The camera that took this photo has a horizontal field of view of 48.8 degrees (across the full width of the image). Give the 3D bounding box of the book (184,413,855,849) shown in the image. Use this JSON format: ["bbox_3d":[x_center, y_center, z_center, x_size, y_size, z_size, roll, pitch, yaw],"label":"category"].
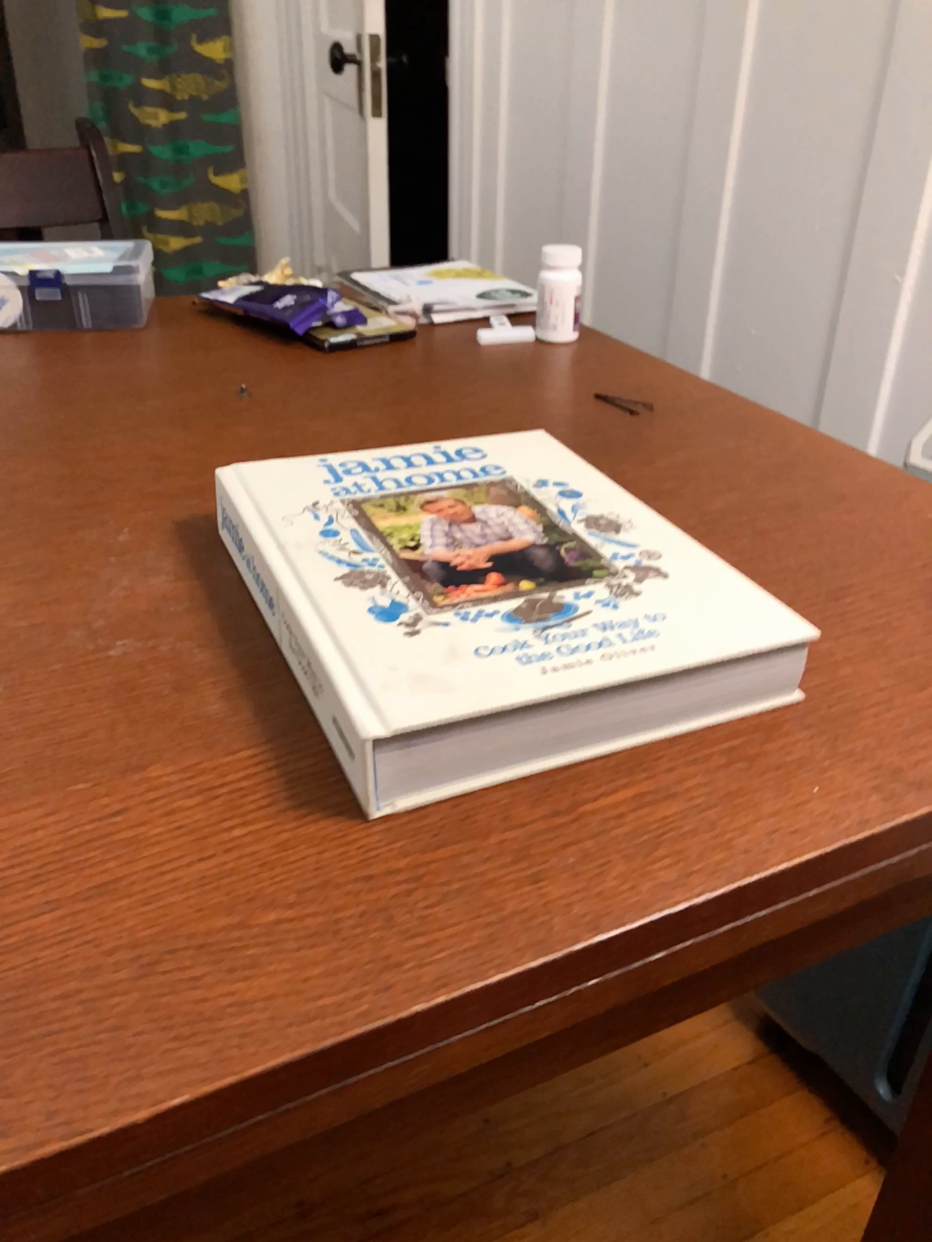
[{"bbox_3d":[0.002,-0.023,0.472,0.210,0.040,0.261,-12,33,-20],"label":"book"}]
